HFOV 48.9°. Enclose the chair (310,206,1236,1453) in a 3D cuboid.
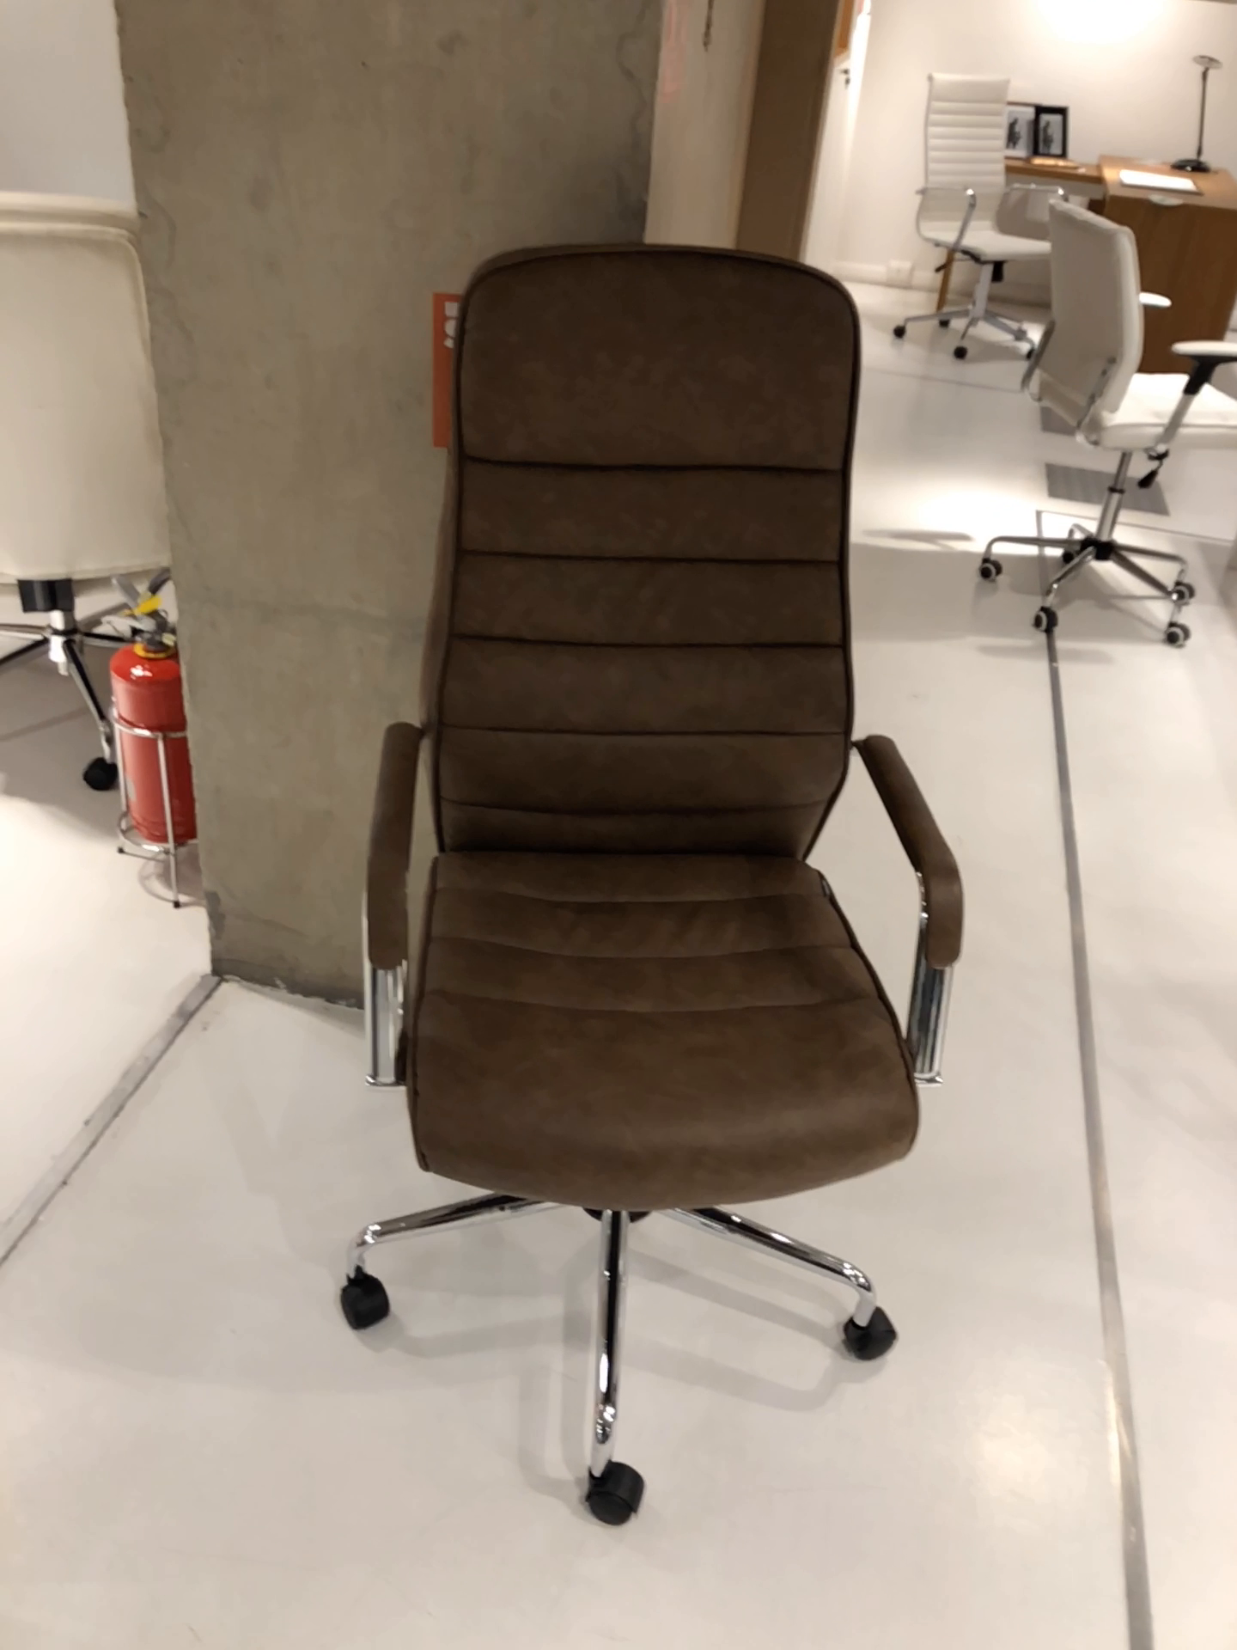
[{"bbox_3d":[0.099,0.010,1.291,0.640,0.962,0.635,3,32,-4],"label":"chair"}]
